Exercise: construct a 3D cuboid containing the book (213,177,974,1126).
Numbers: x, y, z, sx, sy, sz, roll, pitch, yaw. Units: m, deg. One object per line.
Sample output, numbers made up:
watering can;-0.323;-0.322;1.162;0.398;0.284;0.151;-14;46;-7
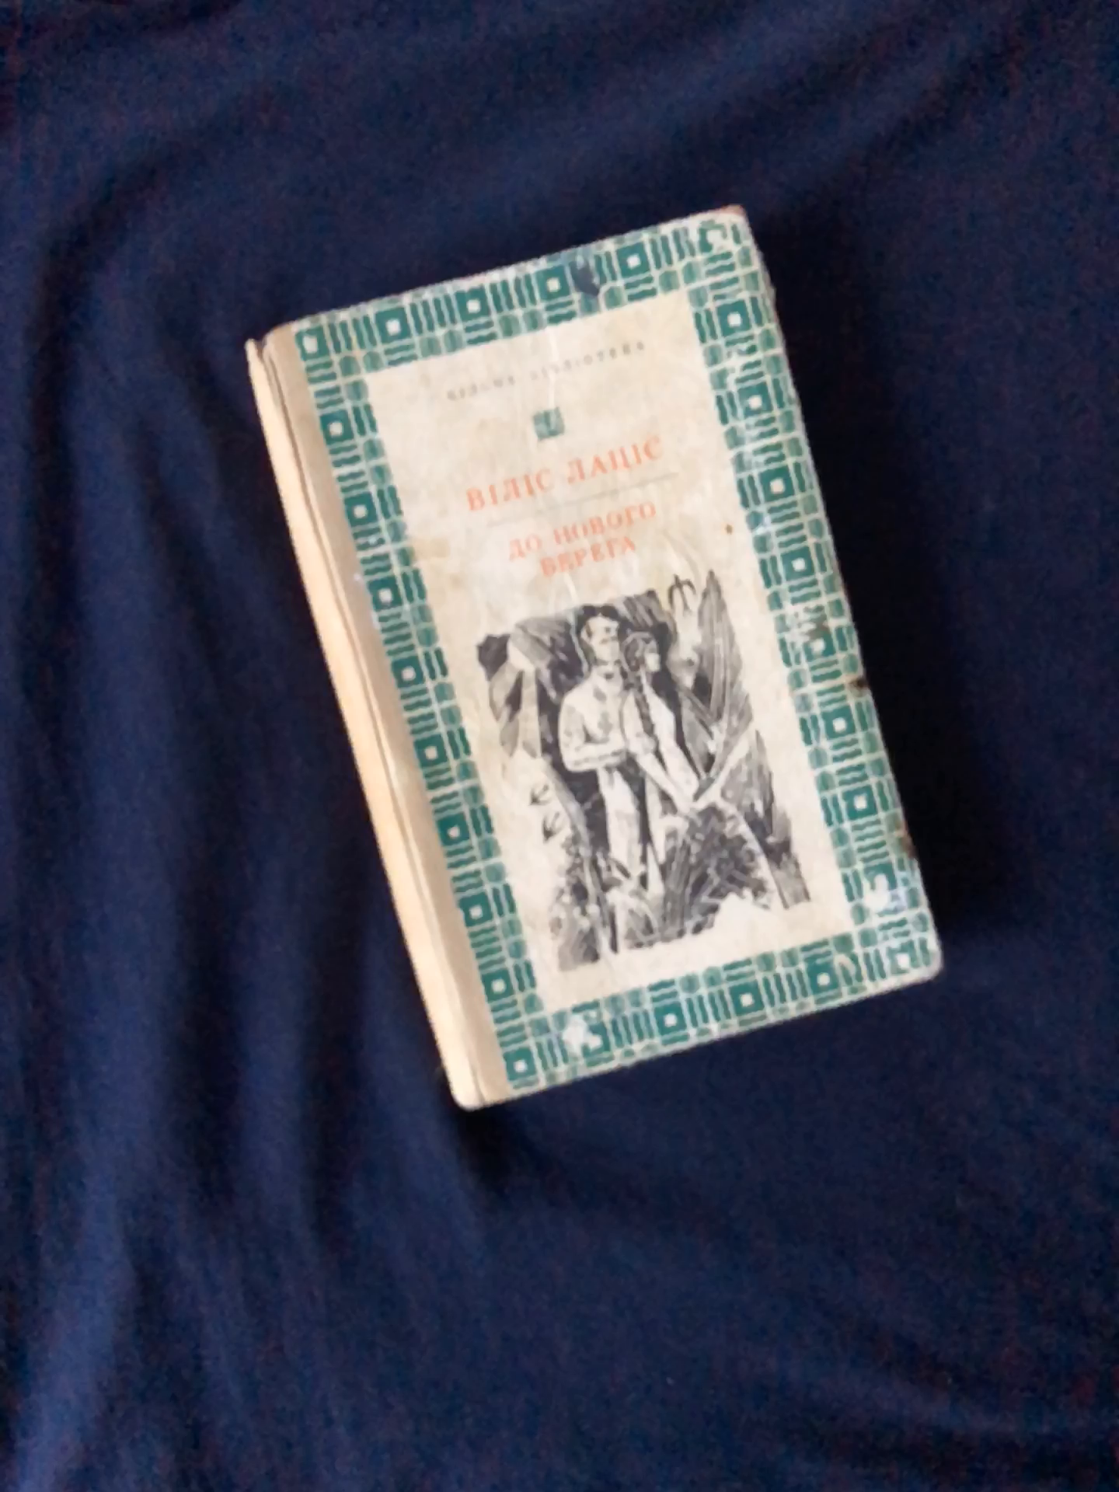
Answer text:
book;0.009;-0.023;0.325;0.134;0.040;0.201;-16;91;0
